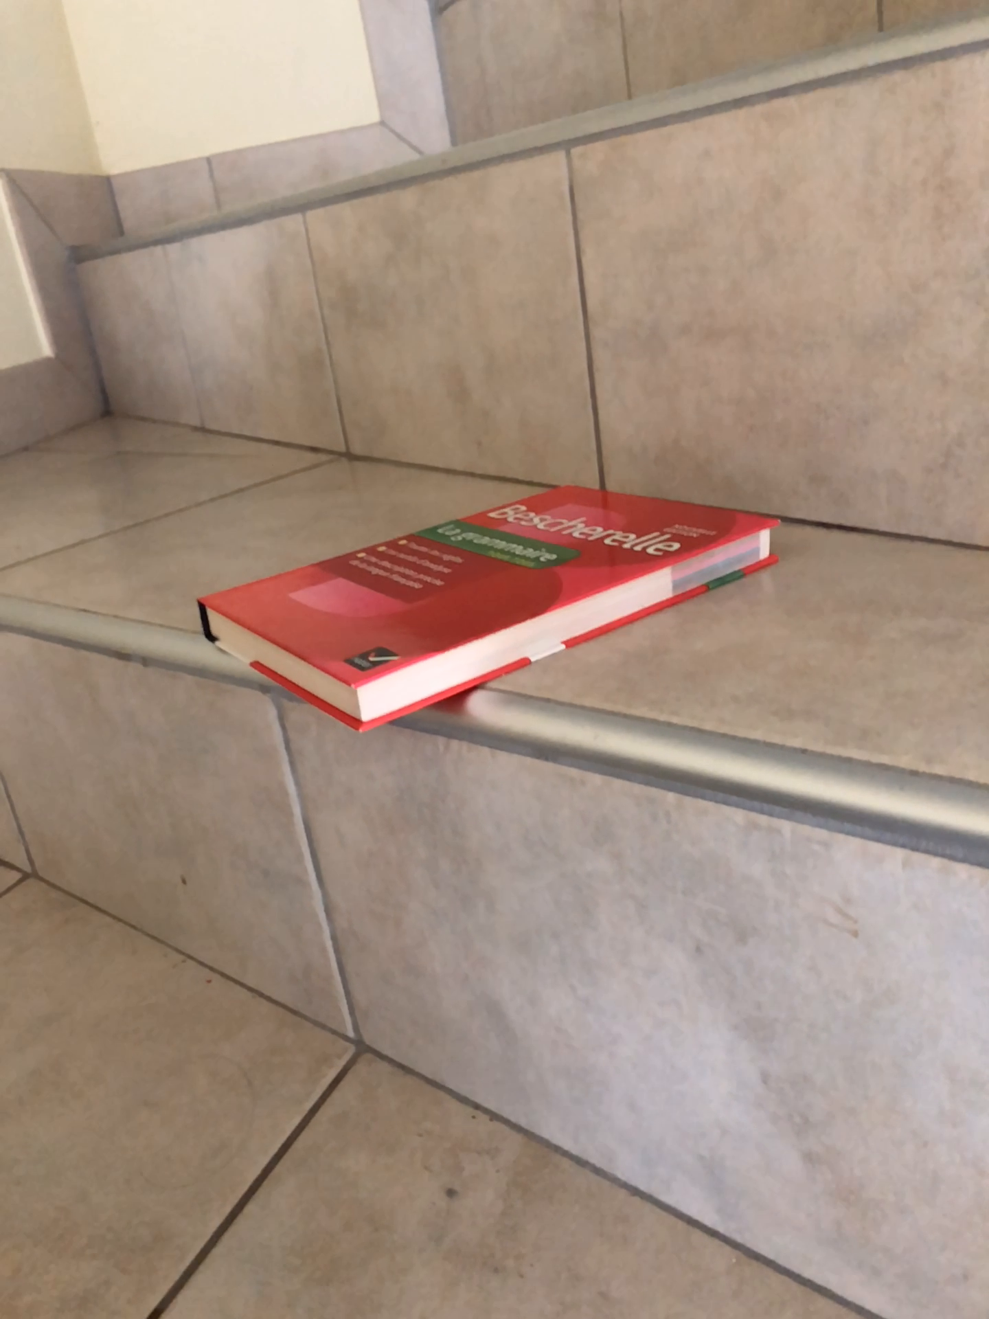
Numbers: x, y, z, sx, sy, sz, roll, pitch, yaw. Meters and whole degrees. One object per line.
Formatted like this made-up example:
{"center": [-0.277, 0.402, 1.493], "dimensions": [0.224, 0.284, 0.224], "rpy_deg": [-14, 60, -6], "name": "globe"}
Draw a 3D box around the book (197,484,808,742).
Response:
{"center": [0.002, -0.031, 0.439], "dimensions": [0.201, 0.020, 0.143], "rpy_deg": [-21, 24, -29], "name": "book"}
